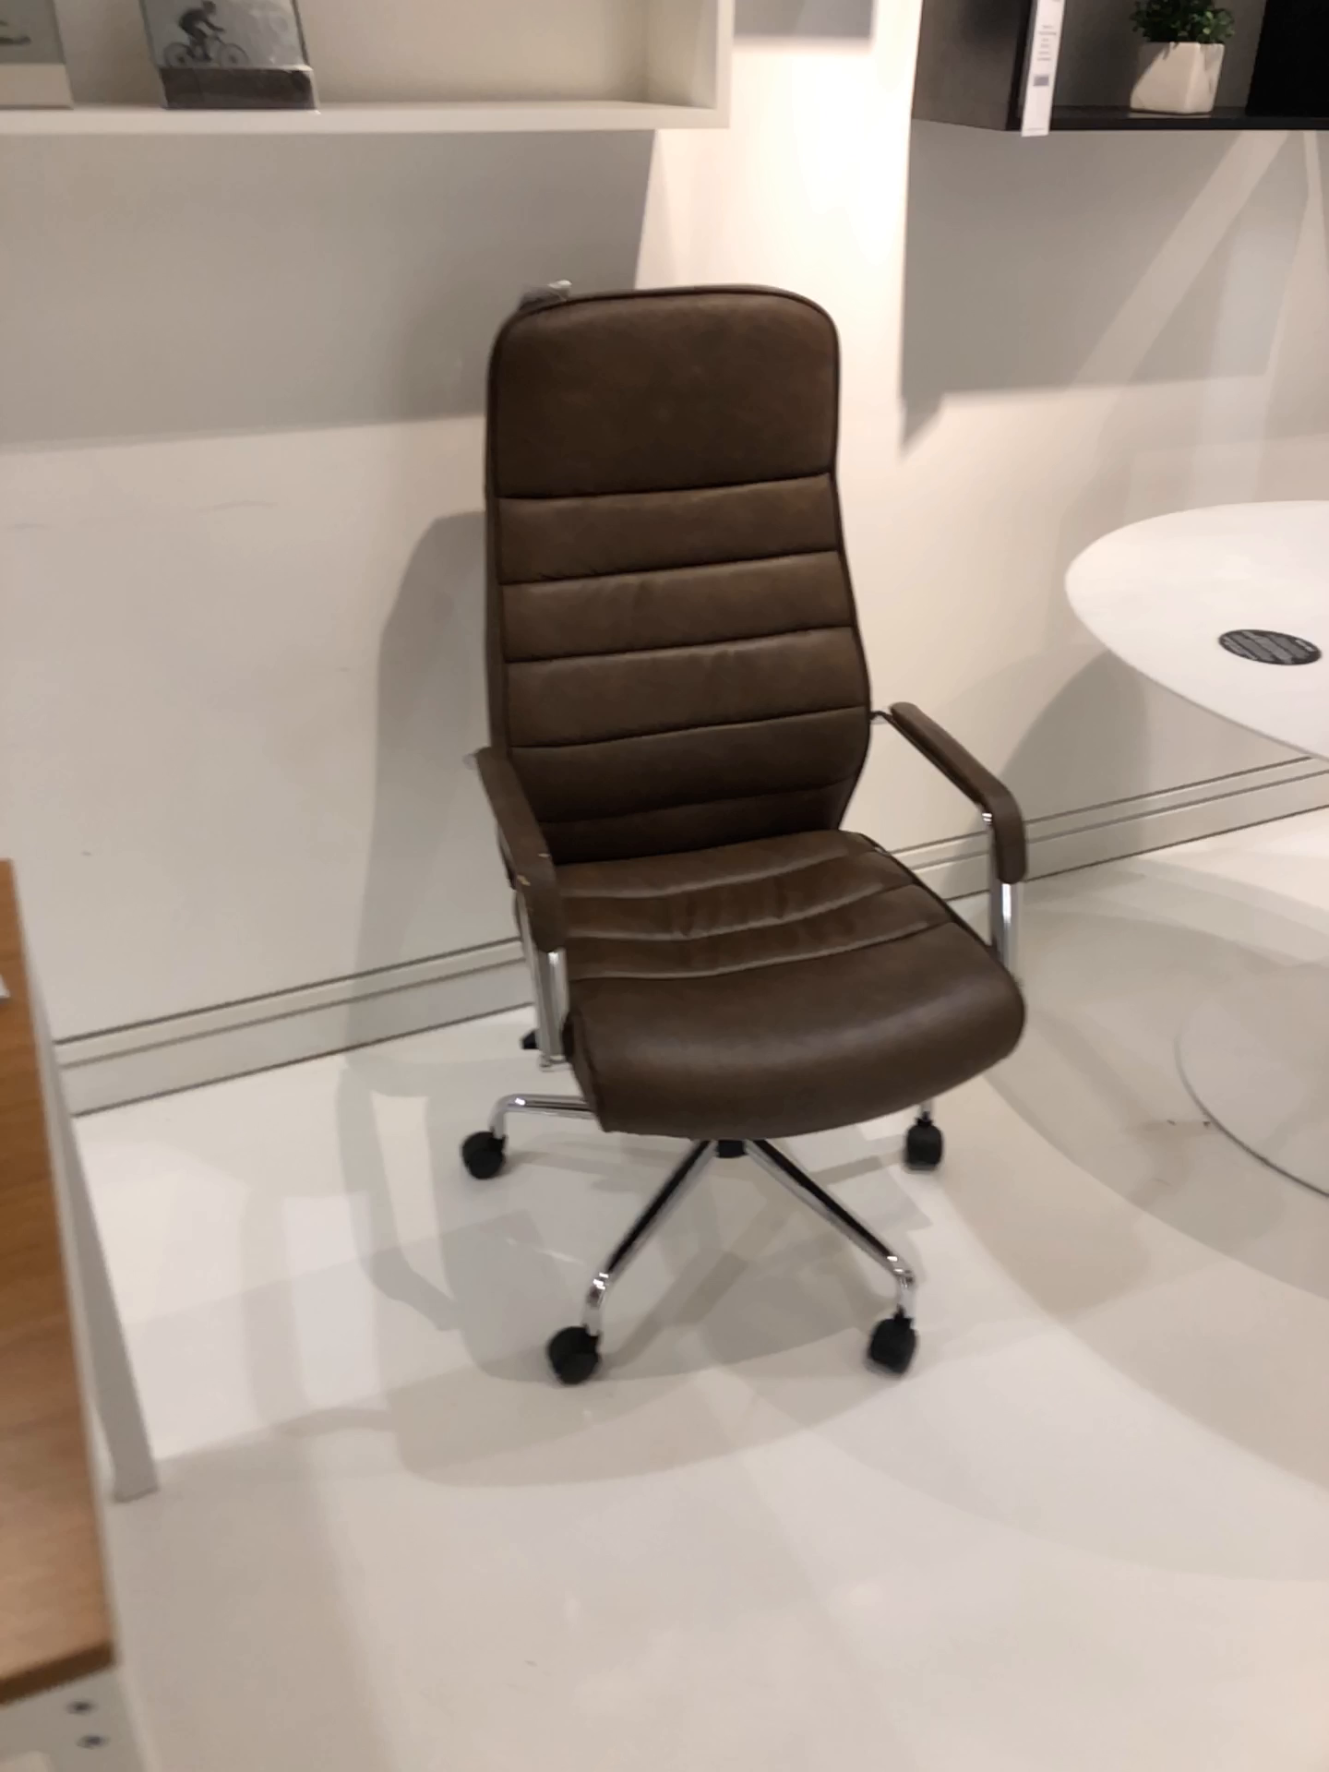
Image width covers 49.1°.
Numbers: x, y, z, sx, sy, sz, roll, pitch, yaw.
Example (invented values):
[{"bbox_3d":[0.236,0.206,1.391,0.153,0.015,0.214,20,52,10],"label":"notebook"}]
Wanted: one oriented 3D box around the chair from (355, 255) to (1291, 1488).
[{"bbox_3d":[0.075,-0.070,1.756,0.701,1.171,0.785,-8,31,-15],"label":"chair"}]
